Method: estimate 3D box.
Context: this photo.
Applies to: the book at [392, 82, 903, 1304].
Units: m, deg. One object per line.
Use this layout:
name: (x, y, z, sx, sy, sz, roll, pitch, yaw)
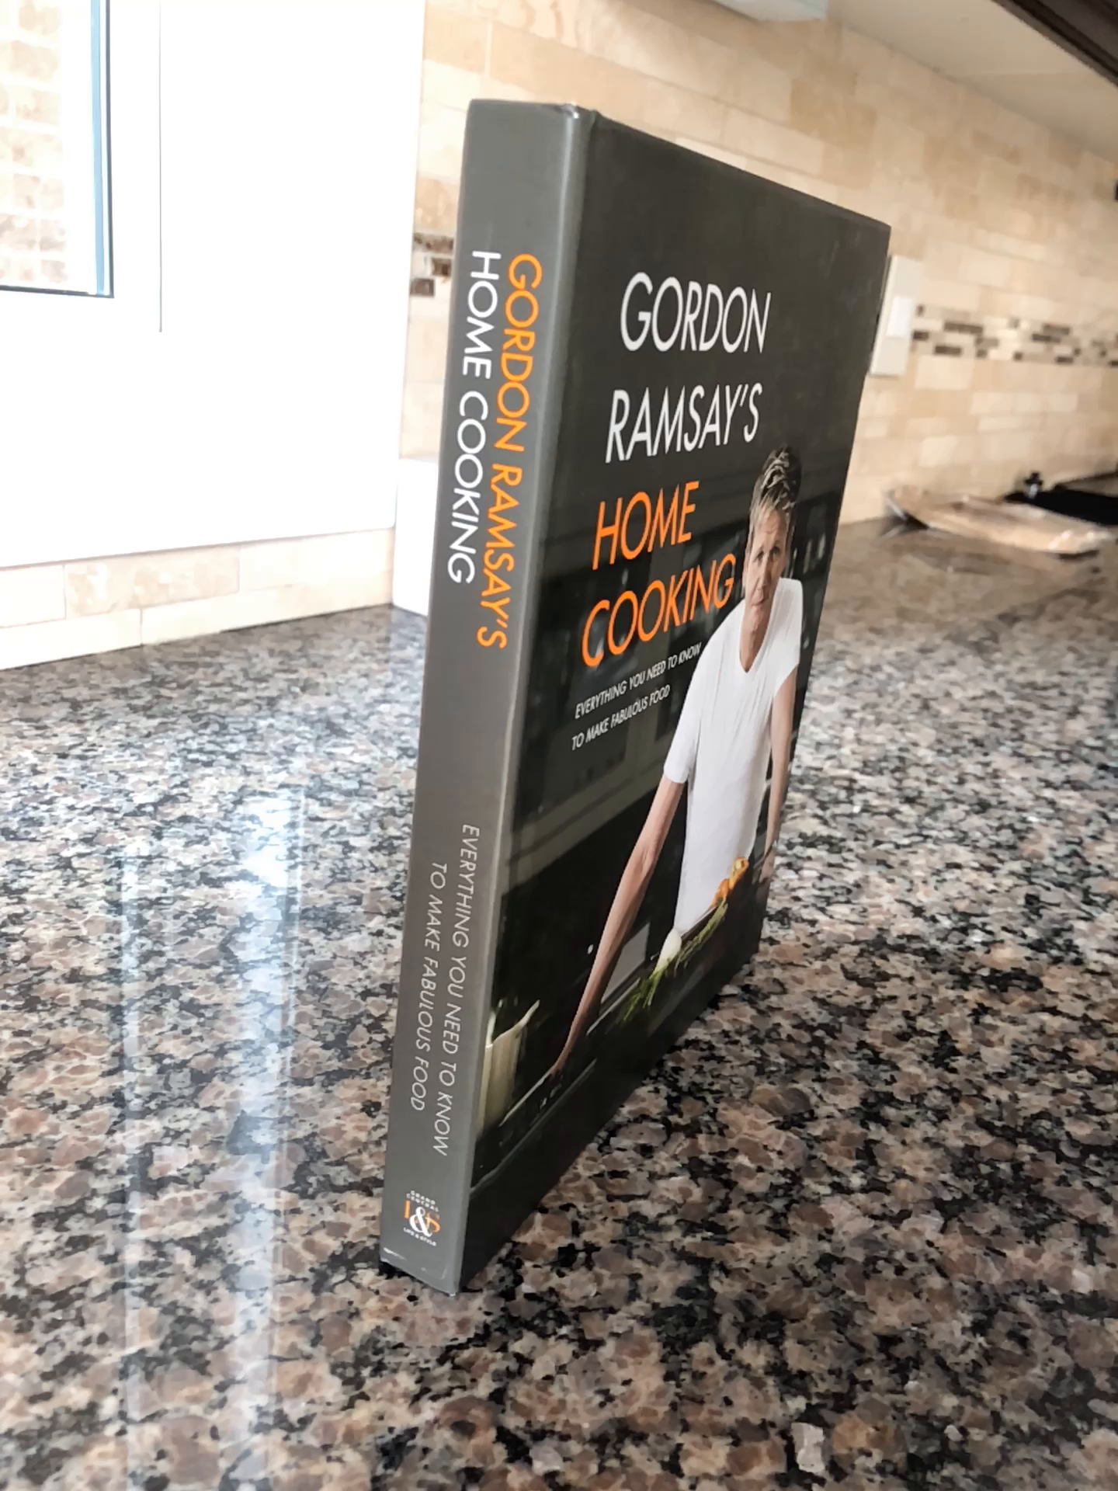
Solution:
book: (0.034, -0.021, 0.352, 0.028, 0.261, 0.217, 15, 21, 24)
